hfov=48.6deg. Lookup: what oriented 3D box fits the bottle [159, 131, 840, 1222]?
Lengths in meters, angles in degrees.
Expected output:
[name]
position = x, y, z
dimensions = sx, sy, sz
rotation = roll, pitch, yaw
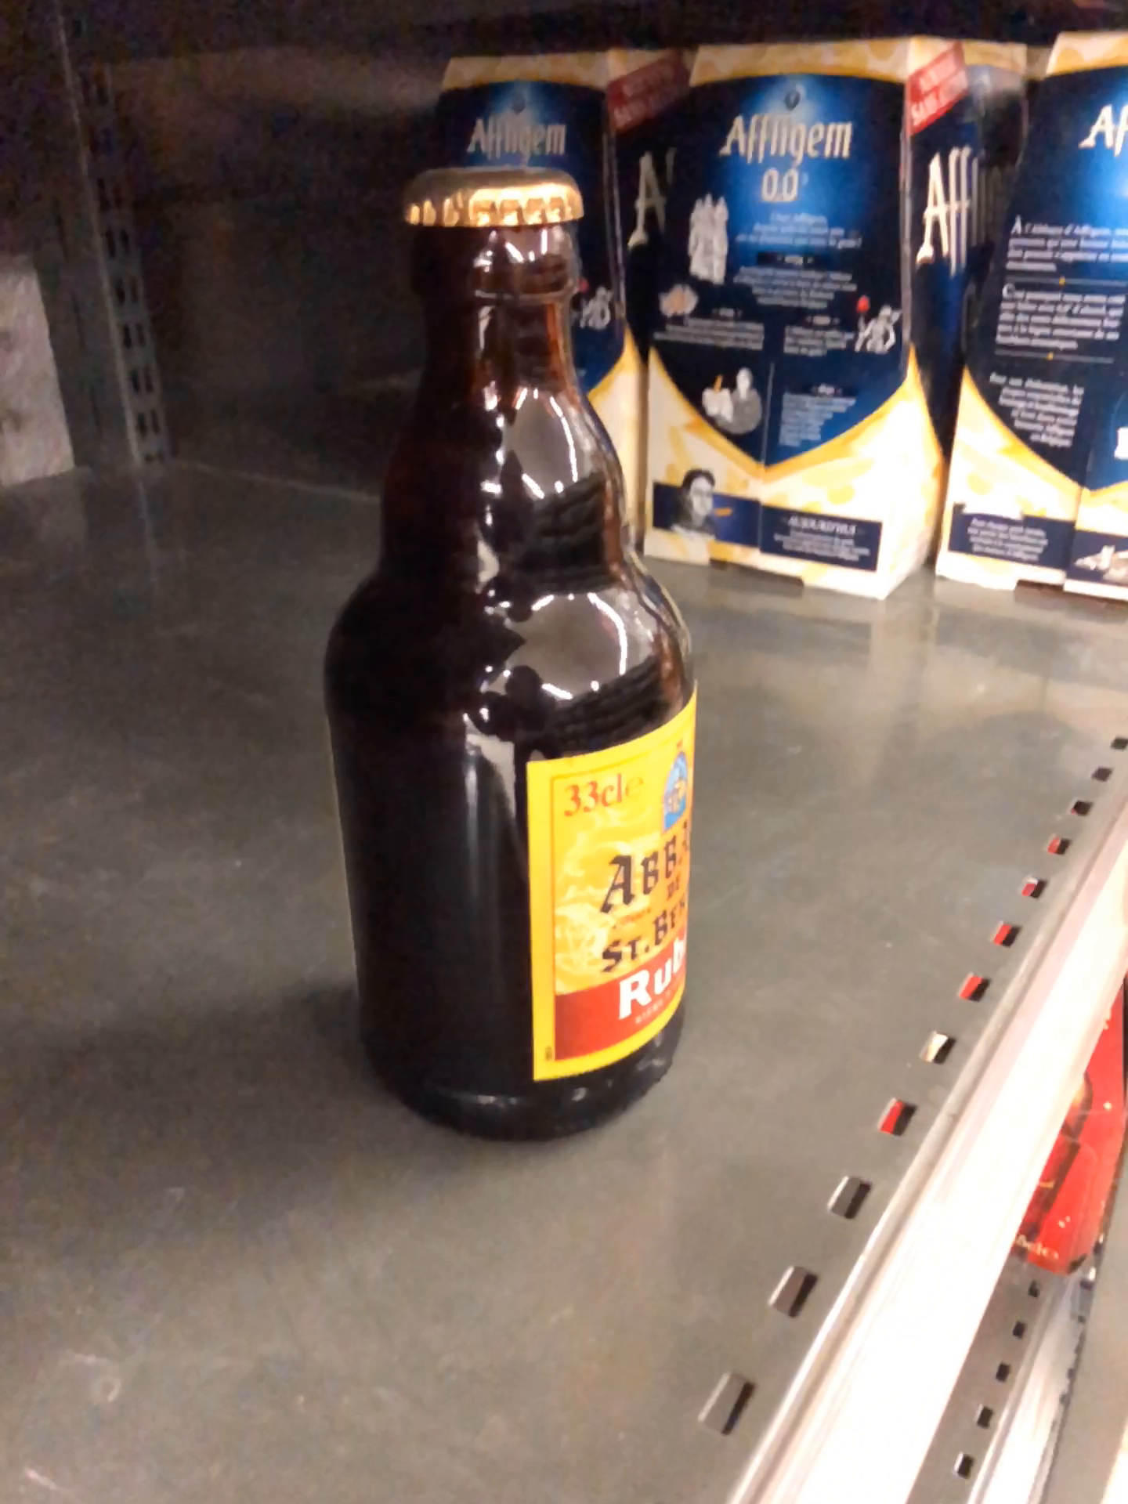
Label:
[bottle]
position = -0.005, -0.018, 0.228
dimensions = 0.070, 0.169, 0.080
rotation = 15, 31, 30
